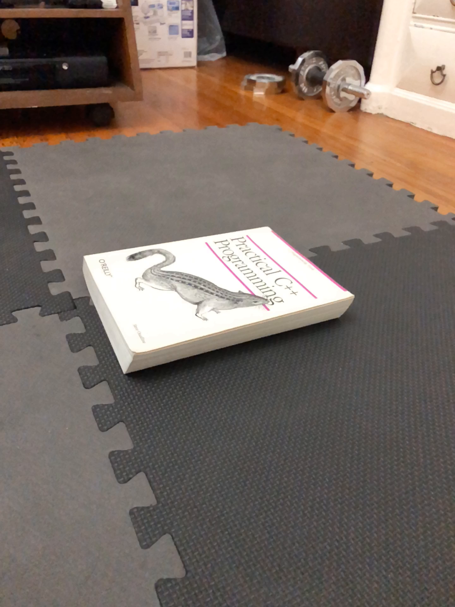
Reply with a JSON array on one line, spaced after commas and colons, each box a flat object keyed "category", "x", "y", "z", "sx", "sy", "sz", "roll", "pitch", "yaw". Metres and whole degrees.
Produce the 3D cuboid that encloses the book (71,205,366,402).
[{"category": "book", "x": -0.018, "y": -0.019, "z": 0.543, "sx": 0.250, "sy": 0.050, "sz": 0.201, "roll": -13, "pitch": 43, "yaw": -22}]
